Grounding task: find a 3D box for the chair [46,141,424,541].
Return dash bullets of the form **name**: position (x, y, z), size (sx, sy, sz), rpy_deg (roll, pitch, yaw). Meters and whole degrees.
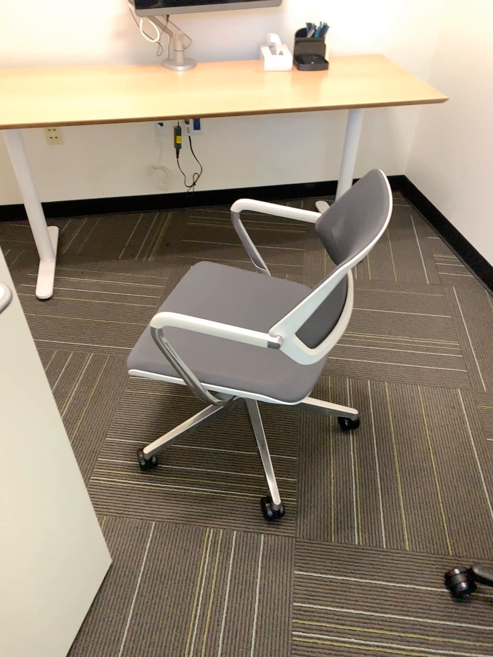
- **chair**: position (0.014, 0.023, 1.191), size (0.590, 0.666, 0.553), rpy_deg (9, 43, 8)
